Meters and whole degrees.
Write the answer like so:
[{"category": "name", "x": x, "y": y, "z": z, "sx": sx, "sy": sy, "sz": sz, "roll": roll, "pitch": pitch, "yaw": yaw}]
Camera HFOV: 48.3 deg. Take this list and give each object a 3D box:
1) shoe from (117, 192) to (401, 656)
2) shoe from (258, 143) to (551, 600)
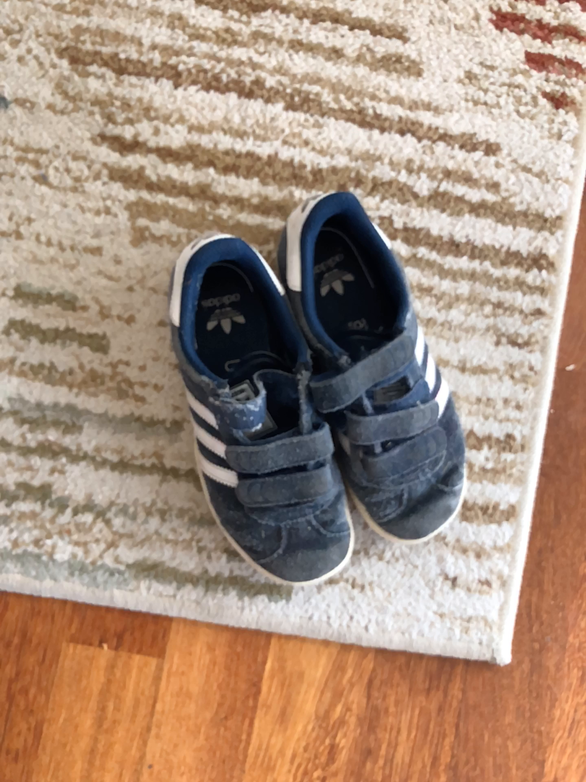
[{"category": "shoe", "x": -0.019, "y": 0.015, "z": 0.353, "sx": 0.084, "sy": 0.053, "sz": 0.216, "roll": -17, "pitch": 90, "yaw": -6}, {"category": "shoe", "x": 0.056, "y": -0.011, "z": 0.361, "sx": 0.086, "sy": 0.052, "sz": 0.219, "roll": -18, "pitch": 90, "yaw": -6}]
